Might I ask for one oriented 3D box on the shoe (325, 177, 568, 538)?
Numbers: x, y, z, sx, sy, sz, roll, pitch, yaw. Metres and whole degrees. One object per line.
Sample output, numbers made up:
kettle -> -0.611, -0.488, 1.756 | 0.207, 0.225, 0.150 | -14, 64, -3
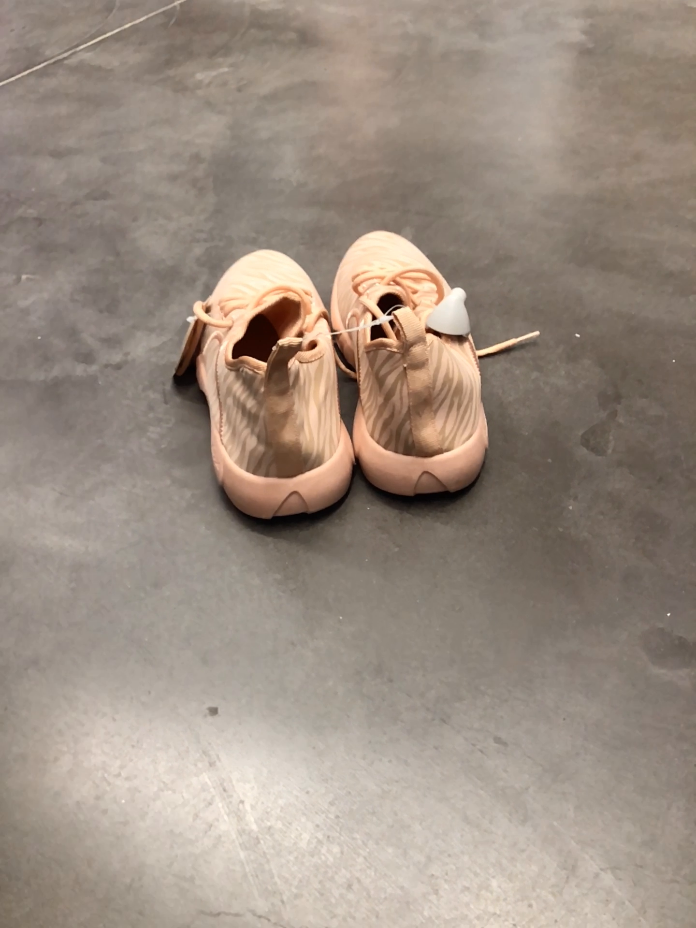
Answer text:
shoe -> 0.045, -0.078, 0.472 | 0.100, 0.099, 0.231 | -4, 43, -2

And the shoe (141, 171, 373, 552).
shoe -> -0.054, -0.074, 0.453 | 0.100, 0.099, 0.231 | -7, 43, -4
